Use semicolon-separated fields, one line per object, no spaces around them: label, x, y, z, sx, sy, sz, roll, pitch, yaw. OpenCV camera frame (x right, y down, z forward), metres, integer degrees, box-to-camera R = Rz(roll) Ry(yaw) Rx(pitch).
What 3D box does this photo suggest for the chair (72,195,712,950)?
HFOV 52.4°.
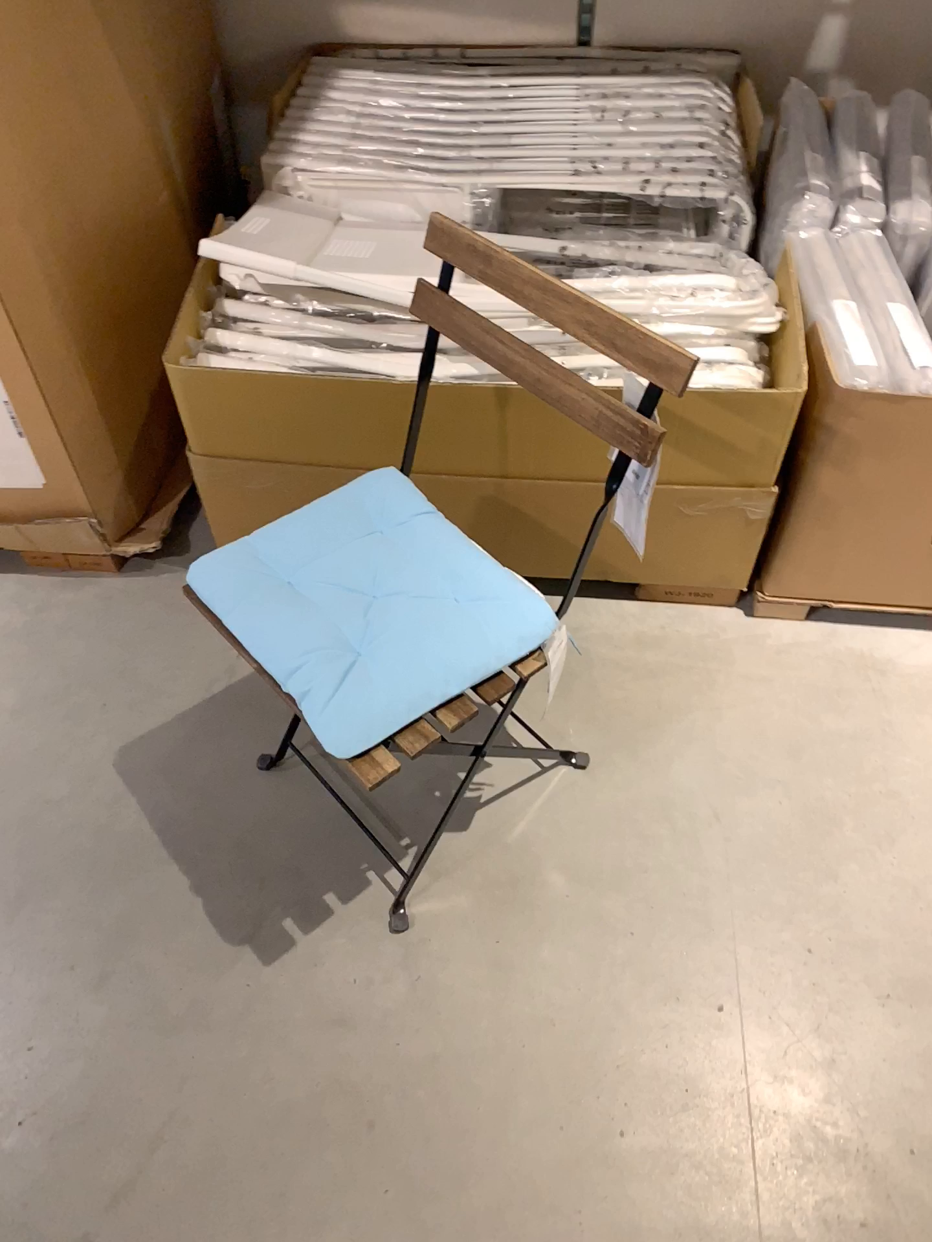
chair;-0.064;-0.023;1.188;0.460;0.738;0.401;-35;58;-24
